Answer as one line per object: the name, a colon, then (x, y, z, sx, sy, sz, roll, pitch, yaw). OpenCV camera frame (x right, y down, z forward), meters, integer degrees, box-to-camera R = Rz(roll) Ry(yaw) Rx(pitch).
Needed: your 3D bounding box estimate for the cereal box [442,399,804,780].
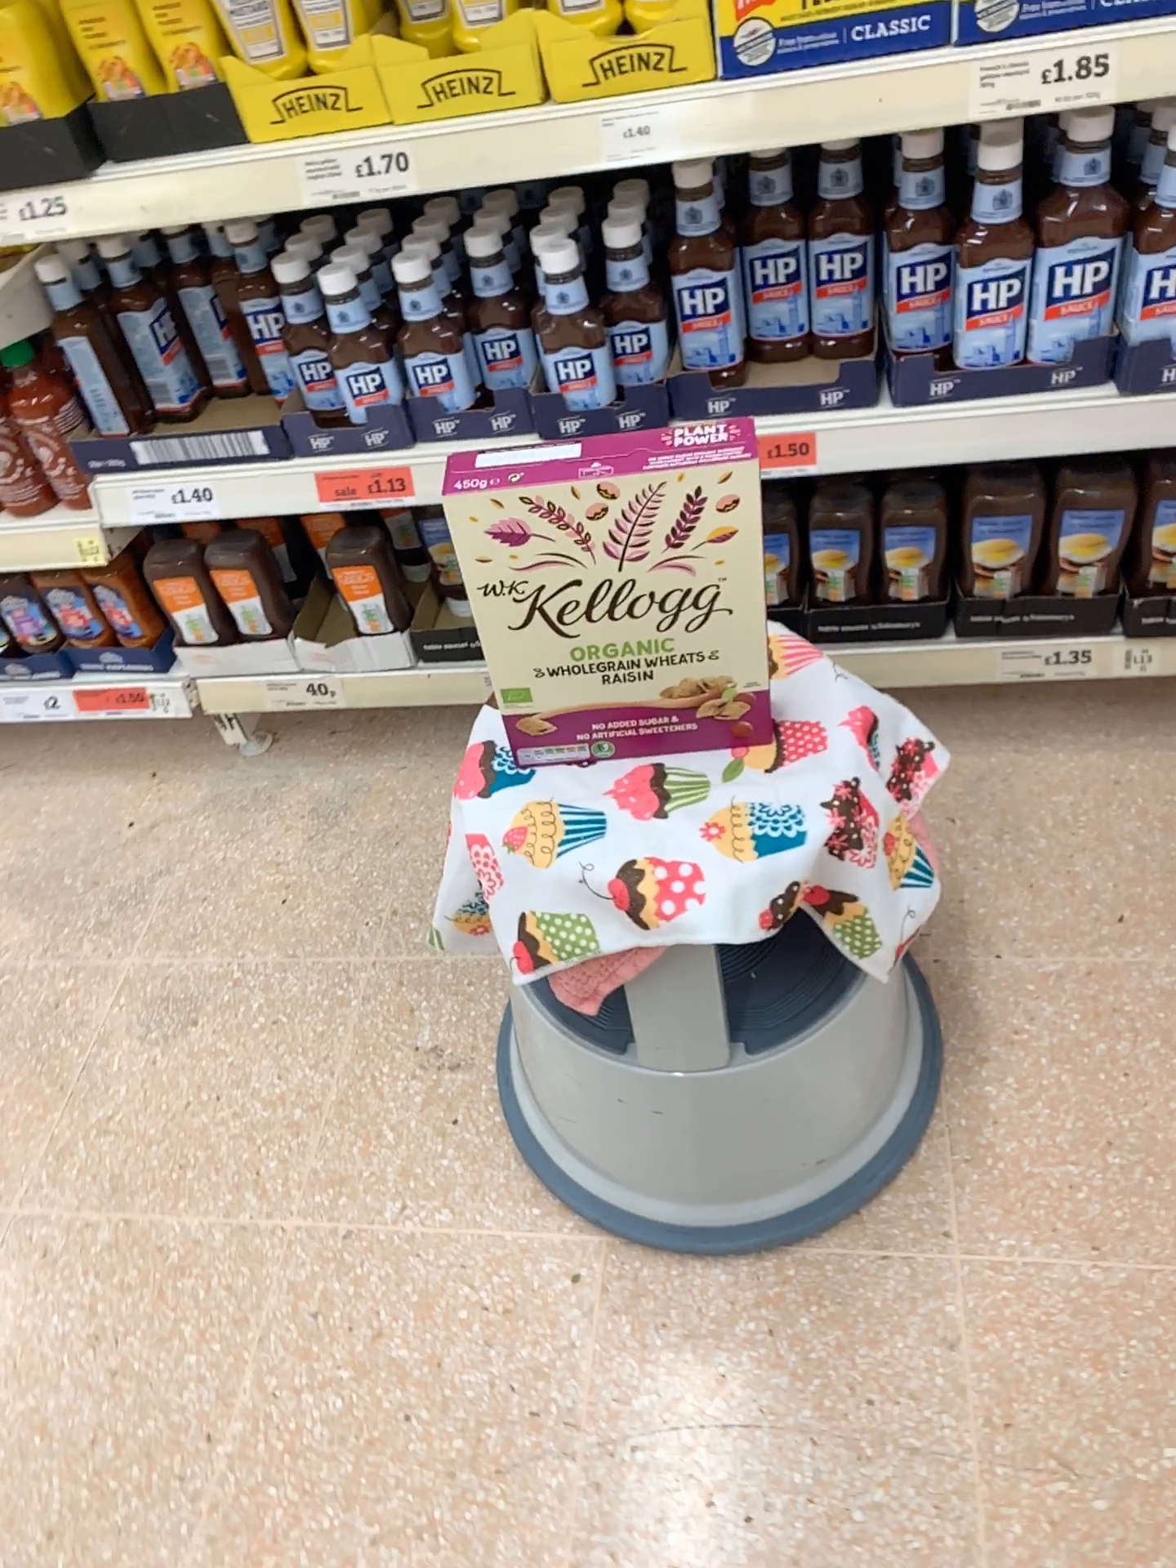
cereal box: (0.035, -0.115, 0.797, 0.200, 0.248, 0.050, -5, 45, 9)
